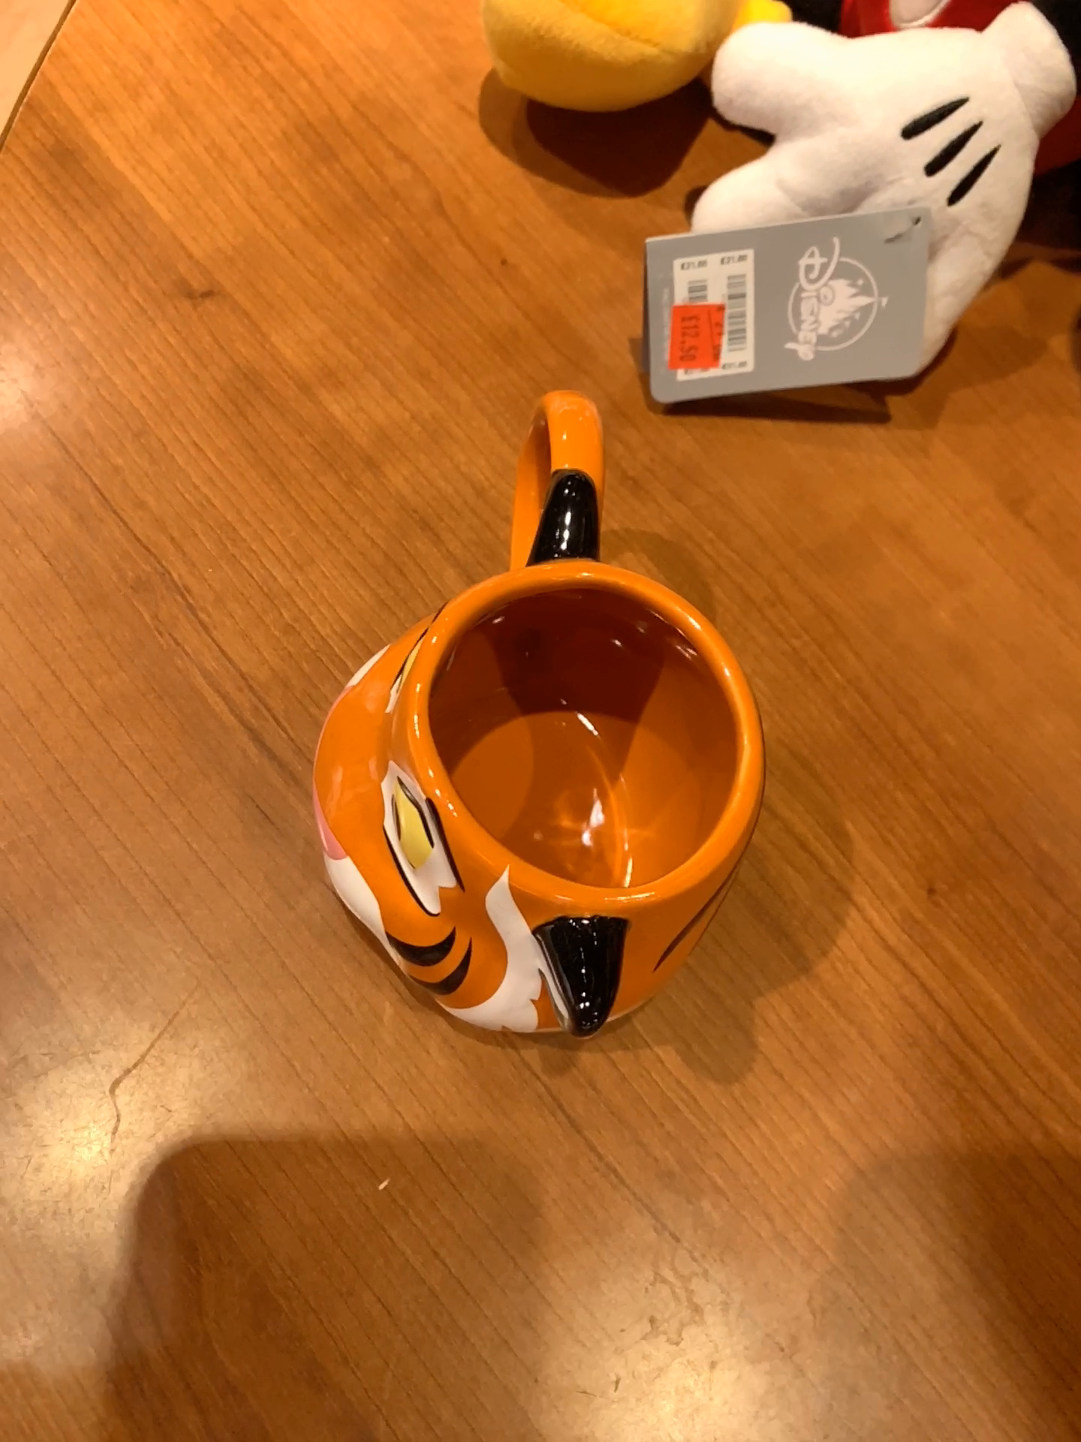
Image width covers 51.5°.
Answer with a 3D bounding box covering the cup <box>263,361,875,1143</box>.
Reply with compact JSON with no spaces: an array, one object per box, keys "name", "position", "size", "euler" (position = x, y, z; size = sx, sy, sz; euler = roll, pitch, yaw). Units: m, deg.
[{"name":"cup","position":[-0.004,0.013,0.256],"size":[0.106,0.087,0.150],"euler":[3,68,-13]}]
